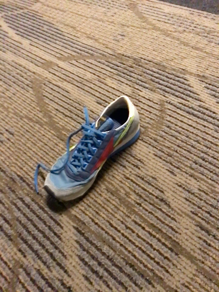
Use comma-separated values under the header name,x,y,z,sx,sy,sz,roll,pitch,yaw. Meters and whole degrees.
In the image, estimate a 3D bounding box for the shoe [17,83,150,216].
name,x,y,z,sx,sy,sz,roll,pitch,yaw
shoe,-0.038,0.000,0.492,0.101,0.095,0.260,36,69,28
